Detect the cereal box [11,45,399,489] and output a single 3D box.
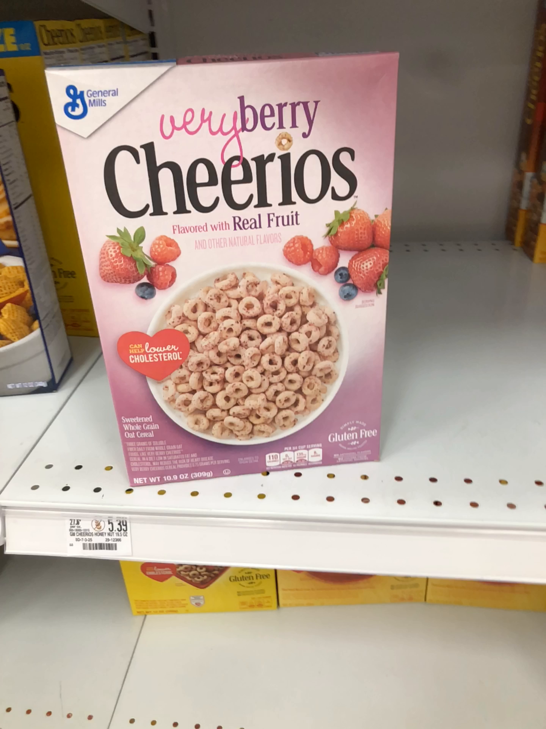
[{"bbox_3d":[-0.030,-0.051,0.409,0.200,0.279,0.060,-5,31,-3],"label":"cereal box"}]
